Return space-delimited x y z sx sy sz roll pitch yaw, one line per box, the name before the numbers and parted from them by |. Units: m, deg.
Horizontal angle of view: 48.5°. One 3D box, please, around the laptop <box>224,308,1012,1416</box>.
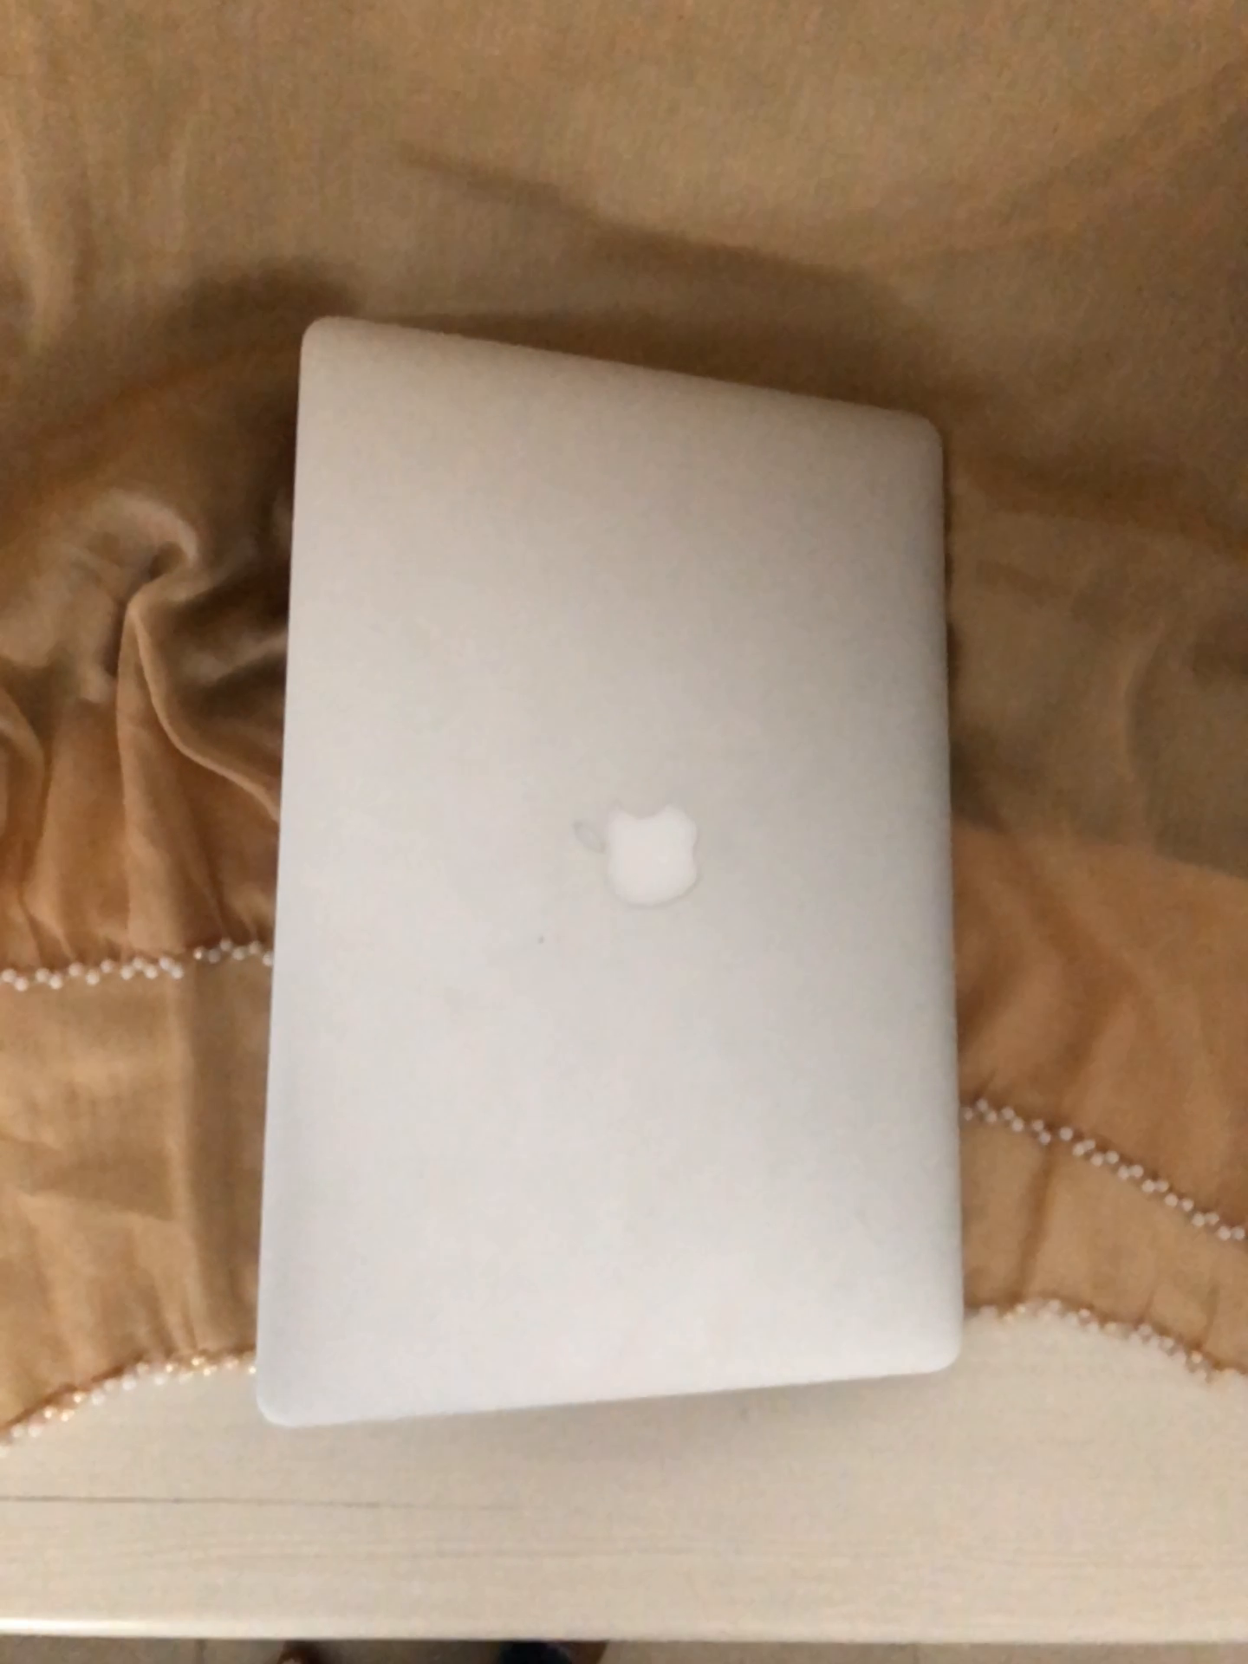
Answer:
laptop | 0.000 0.007 0.477 0.239 0.064 0.351 2 81 -4
